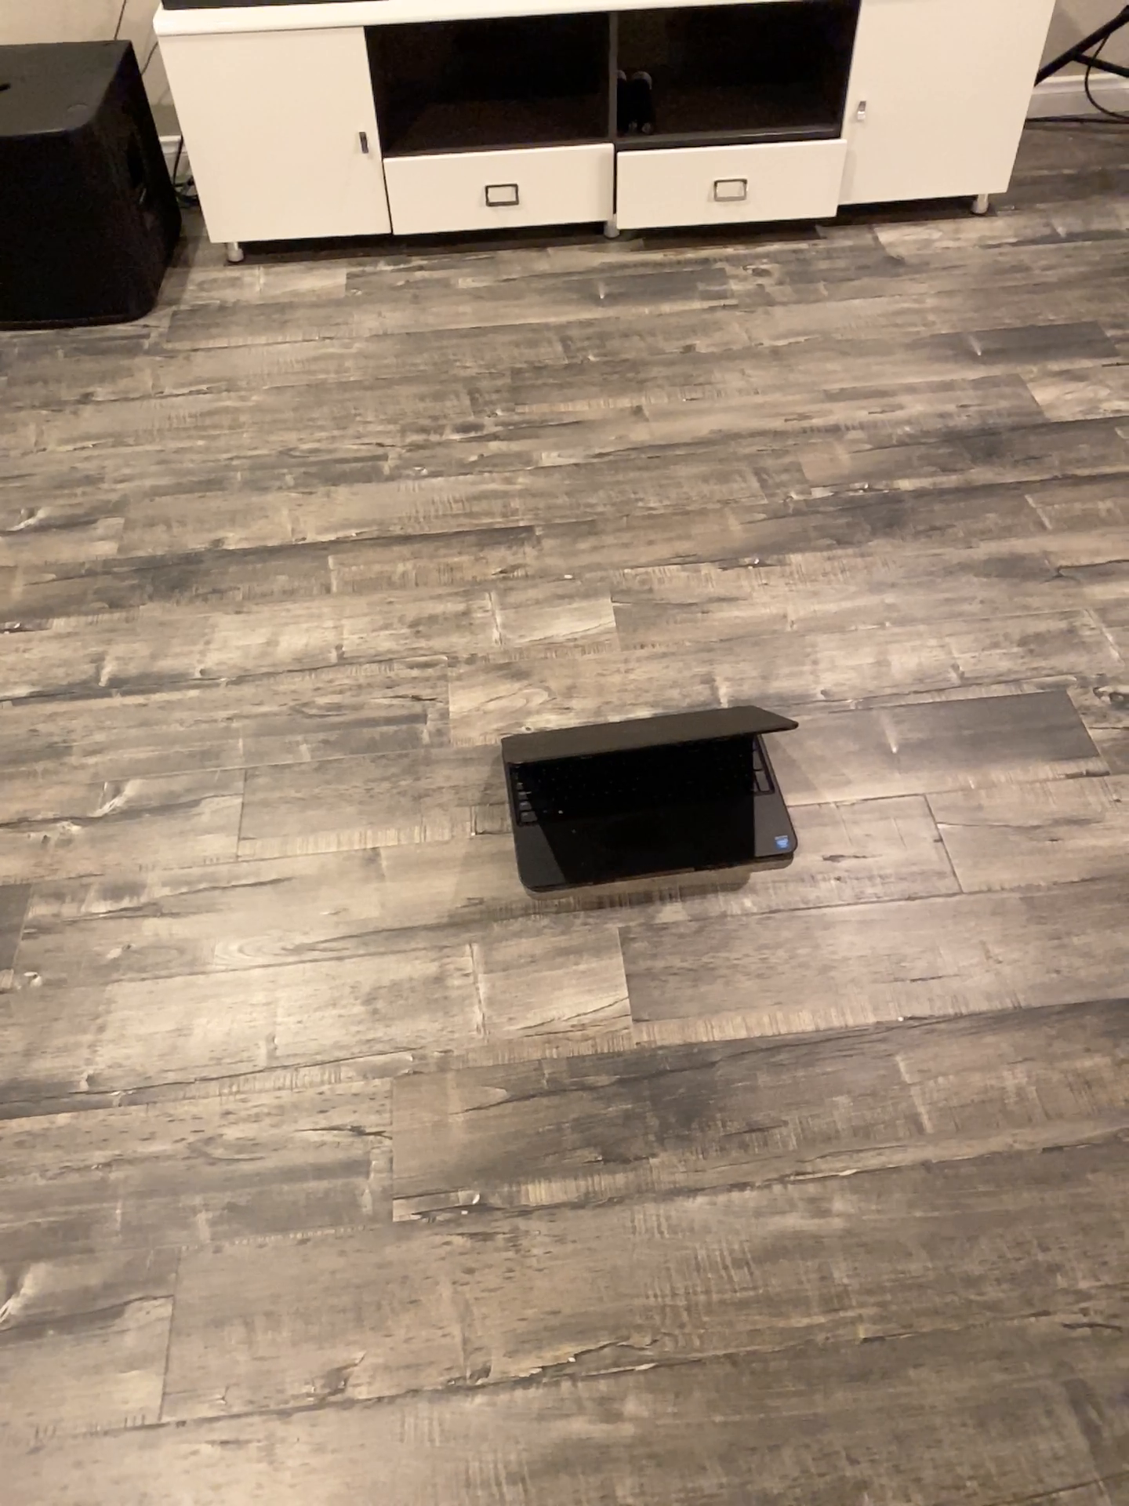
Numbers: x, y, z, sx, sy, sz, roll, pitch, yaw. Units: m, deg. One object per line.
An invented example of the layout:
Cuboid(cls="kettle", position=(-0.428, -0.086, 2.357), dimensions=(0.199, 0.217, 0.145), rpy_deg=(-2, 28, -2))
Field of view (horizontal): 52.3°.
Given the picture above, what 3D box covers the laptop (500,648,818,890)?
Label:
Cuboid(cls="laptop", position=(0.111, 0.018, 1.503), dimensions=(0.352, 0.170, 0.231), rpy_deg=(-7, 48, -5))
